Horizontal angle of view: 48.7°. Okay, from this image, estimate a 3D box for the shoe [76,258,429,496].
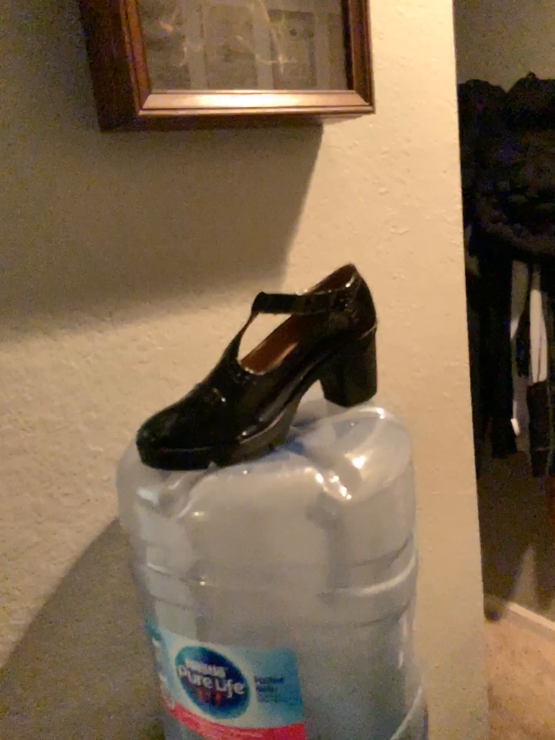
[{"bbox_3d":[-0.013,-0.014,0.512,0.250,0.120,0.130,-17,18,-31],"label":"shoe"}]
